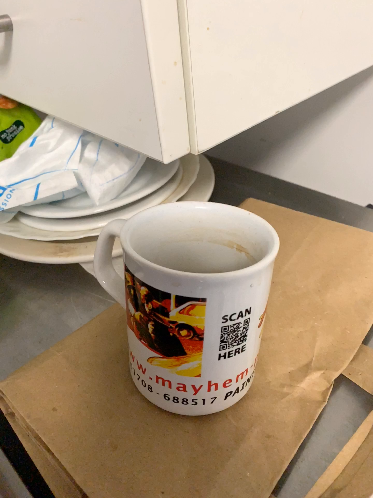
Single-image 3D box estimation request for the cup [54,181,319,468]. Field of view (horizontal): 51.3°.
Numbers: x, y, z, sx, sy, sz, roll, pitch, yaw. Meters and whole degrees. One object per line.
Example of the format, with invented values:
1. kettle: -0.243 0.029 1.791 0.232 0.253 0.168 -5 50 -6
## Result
1. cup: -0.002 0.028 0.207 0.101 0.088 0.078 25 38 34
